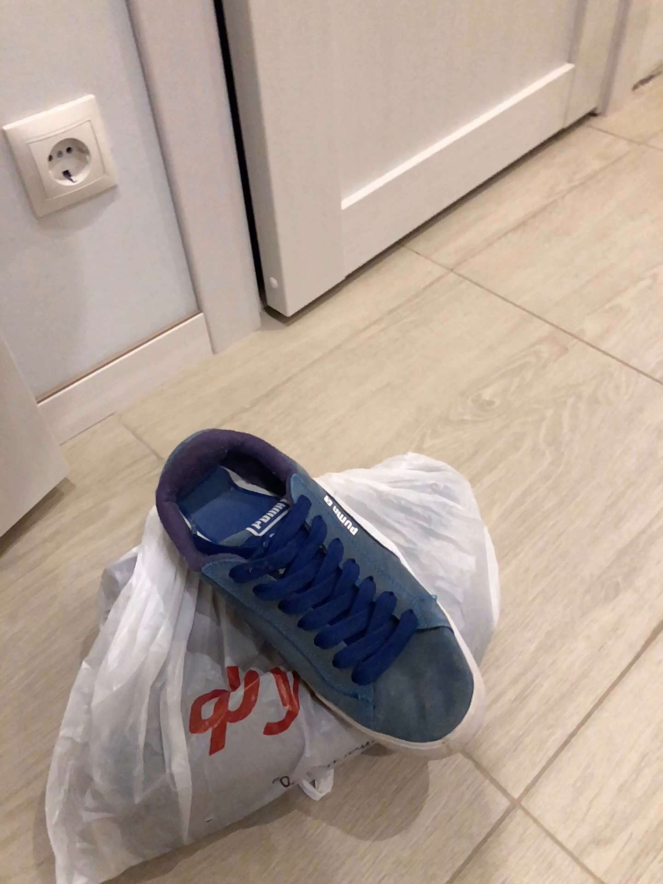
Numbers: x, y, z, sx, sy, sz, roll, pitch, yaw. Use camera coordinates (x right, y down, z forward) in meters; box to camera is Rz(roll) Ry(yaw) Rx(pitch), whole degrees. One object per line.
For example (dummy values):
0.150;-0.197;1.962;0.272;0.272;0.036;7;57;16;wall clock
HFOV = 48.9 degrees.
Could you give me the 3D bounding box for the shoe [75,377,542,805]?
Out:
-0.024;0.086;0.498;0.301;0.099;0.110;32;65;28;shoe
